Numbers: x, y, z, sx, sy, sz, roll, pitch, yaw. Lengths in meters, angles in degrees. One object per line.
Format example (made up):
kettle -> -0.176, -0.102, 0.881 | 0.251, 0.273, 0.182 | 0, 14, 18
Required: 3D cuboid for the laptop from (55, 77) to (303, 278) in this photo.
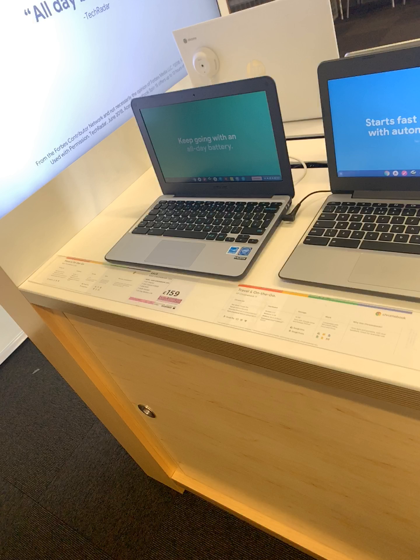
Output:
laptop -> -0.040, -0.163, 0.679 | 0.281, 0.183, 0.216 | 9, 47, 36
